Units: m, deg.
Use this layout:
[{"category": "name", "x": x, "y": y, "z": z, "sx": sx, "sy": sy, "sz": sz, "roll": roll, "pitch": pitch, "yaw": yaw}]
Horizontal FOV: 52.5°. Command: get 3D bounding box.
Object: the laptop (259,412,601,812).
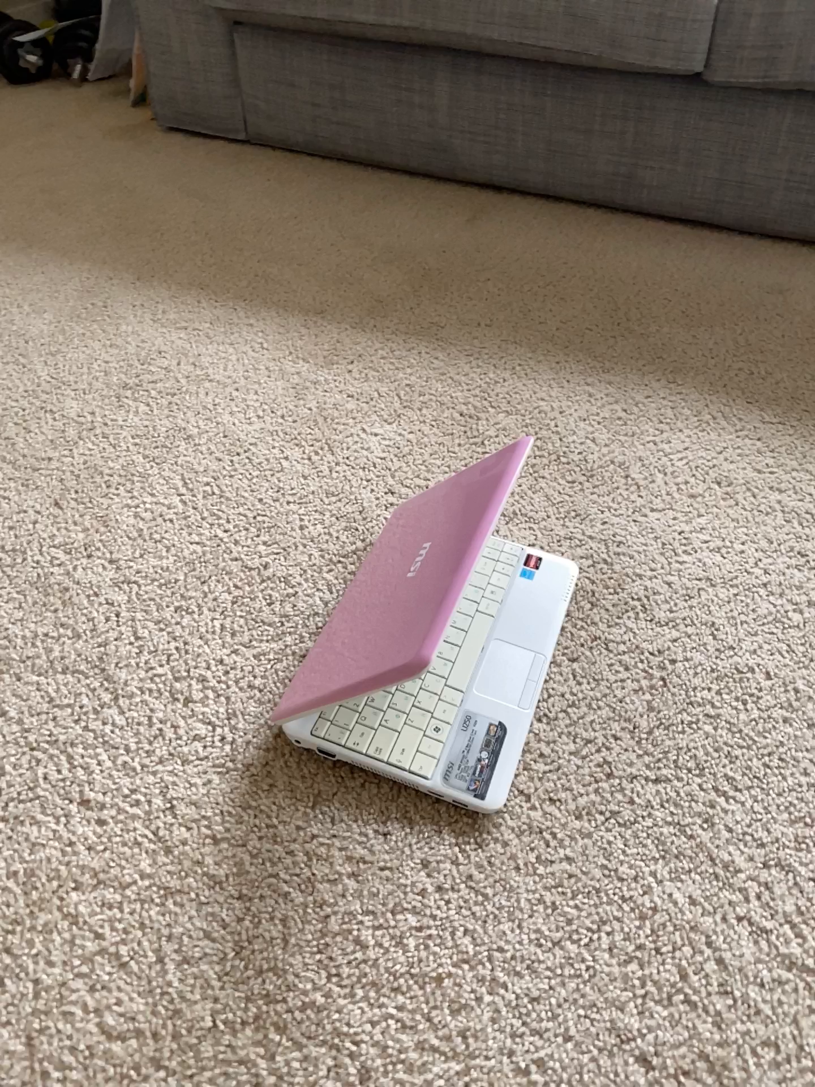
[{"category": "laptop", "x": 0.035, "y": 0.040, "z": 0.716, "sx": 0.193, "sy": 0.125, "sz": 0.291, "roll": 16, "pitch": 45, "yaw": 13}]
